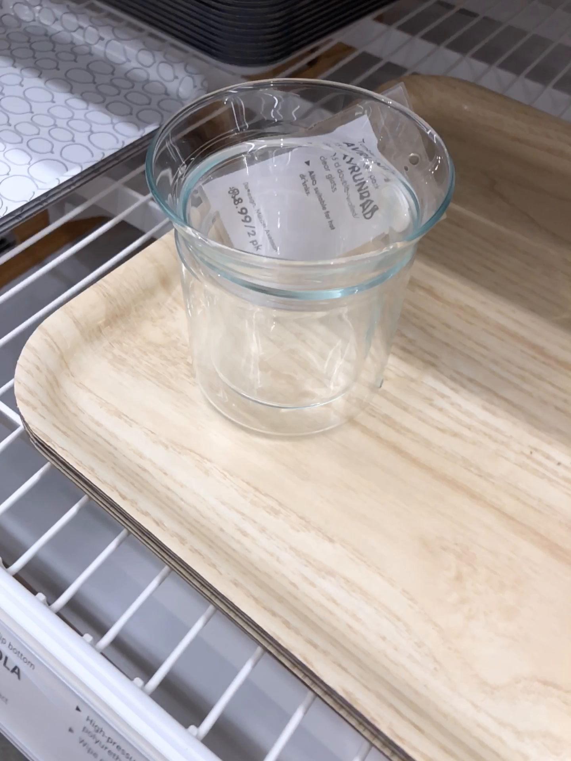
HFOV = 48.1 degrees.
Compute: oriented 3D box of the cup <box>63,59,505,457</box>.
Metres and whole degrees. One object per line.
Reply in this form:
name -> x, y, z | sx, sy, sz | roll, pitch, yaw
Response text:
cup -> -0.003, -0.037, 0.204 | 0.100, 0.080, 0.090 | 2, 52, -4
